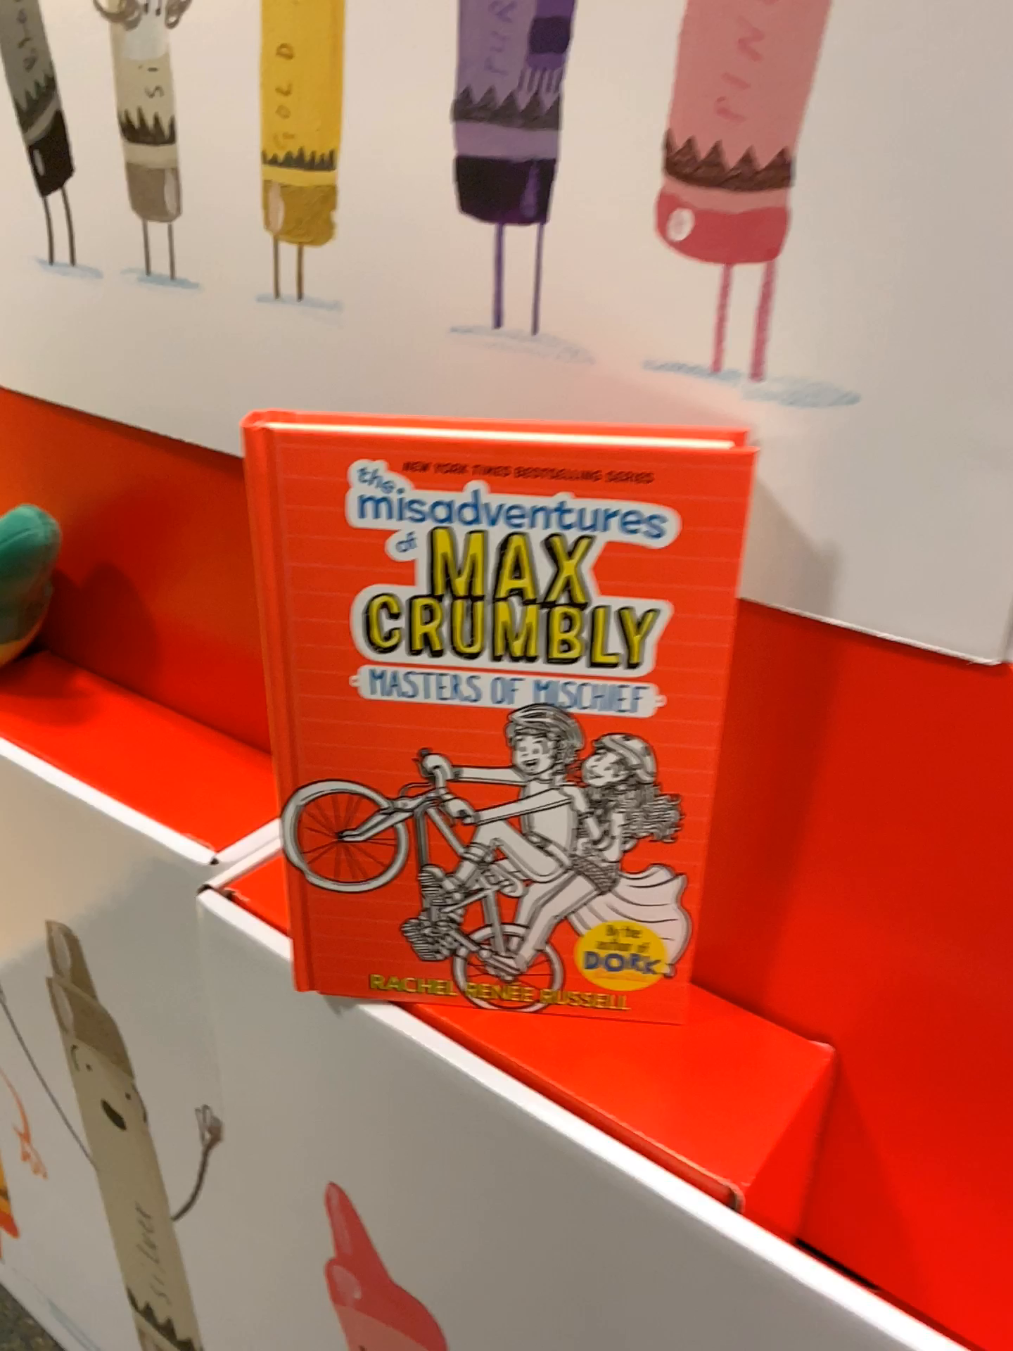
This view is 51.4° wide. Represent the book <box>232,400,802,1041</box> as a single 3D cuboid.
[{"bbox_3d":[-0.001,0.024,0.322,0.142,0.201,0.031,3,28,1],"label":"book"}]
